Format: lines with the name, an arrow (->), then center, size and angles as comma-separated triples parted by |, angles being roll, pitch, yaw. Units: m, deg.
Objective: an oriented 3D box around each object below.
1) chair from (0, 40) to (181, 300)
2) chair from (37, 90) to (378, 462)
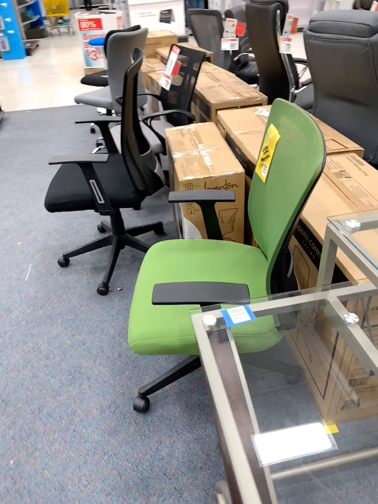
chair -> -0.416, -0.361, 1.778 | 0.657, 0.972, 0.647 | -1, 36, 4
chair -> 0.071, 0.078, 1.182 | 0.597, 0.912, 0.647 | -1, 36, 4
